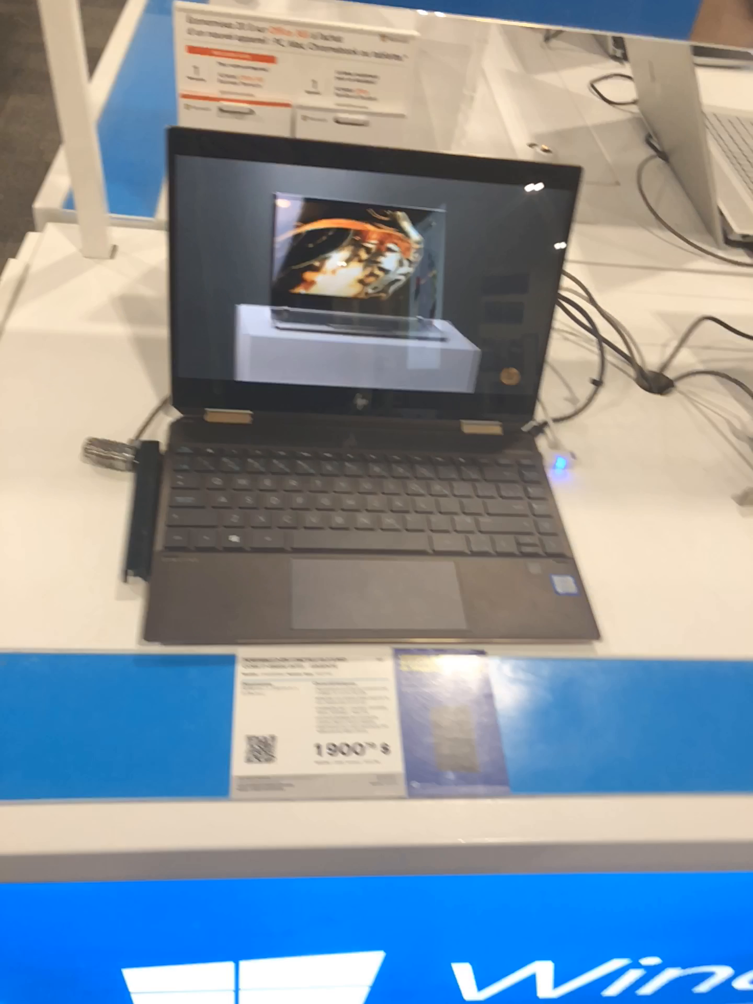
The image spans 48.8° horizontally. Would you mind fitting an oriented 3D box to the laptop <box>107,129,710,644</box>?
[{"bbox_3d":[-0.001,-0.081,0.570,0.297,0.197,0.286,2,46,-9],"label":"laptop"}]
